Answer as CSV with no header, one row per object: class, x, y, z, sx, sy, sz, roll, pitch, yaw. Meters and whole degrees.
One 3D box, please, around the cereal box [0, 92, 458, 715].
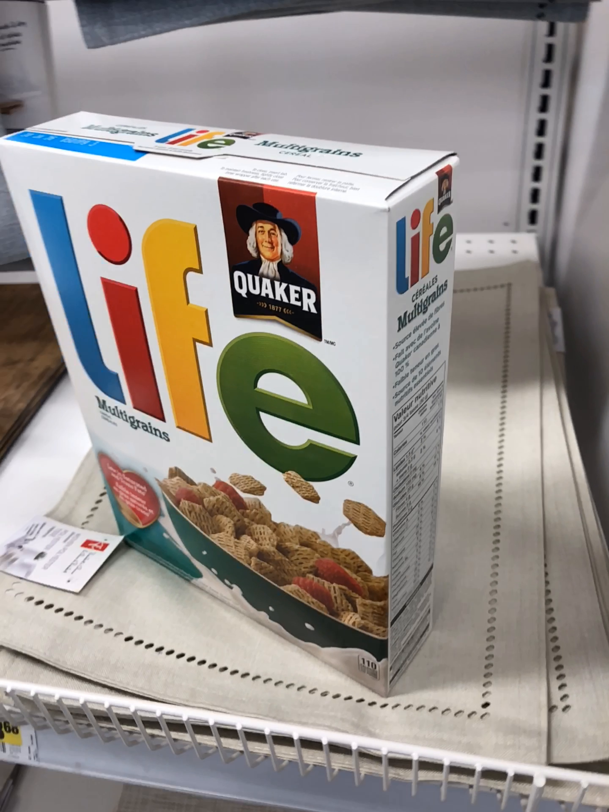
cereal box,-0.042,0.001,0.353,0.211,0.279,0.060,21,41,31
